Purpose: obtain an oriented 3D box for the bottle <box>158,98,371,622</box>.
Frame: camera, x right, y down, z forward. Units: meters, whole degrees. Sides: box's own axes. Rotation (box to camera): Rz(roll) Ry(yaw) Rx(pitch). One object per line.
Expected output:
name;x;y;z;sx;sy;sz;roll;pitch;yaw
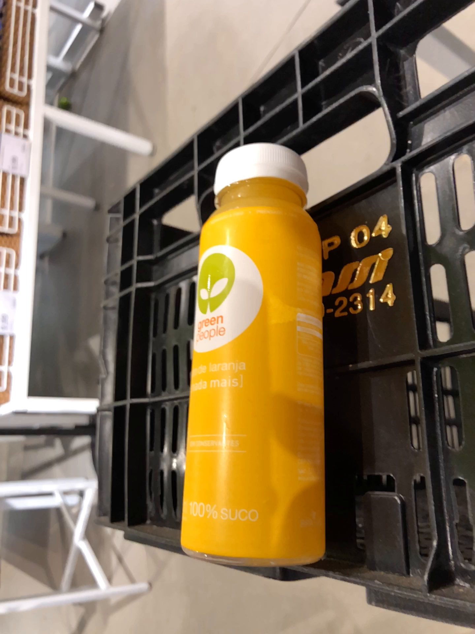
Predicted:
bottle;0.014;0.013;0.218;0.060;0.050;0.180;-16;65;51
